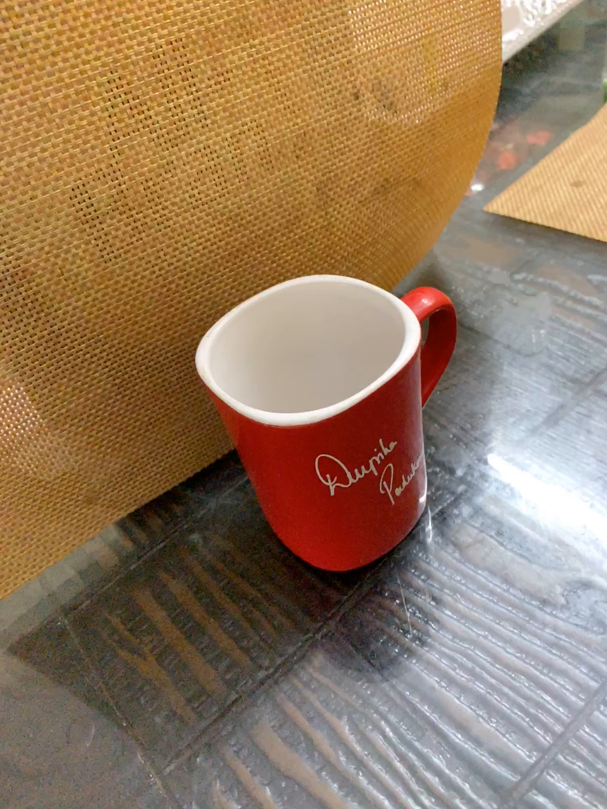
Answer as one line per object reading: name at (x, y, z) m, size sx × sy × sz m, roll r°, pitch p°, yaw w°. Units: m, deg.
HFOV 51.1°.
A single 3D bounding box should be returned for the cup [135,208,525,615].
cup at (0.014, -0.001, 0.223) m, size 0.100 × 0.079 × 0.070 m, roll -34°, pitch 47°, yaw -18°
